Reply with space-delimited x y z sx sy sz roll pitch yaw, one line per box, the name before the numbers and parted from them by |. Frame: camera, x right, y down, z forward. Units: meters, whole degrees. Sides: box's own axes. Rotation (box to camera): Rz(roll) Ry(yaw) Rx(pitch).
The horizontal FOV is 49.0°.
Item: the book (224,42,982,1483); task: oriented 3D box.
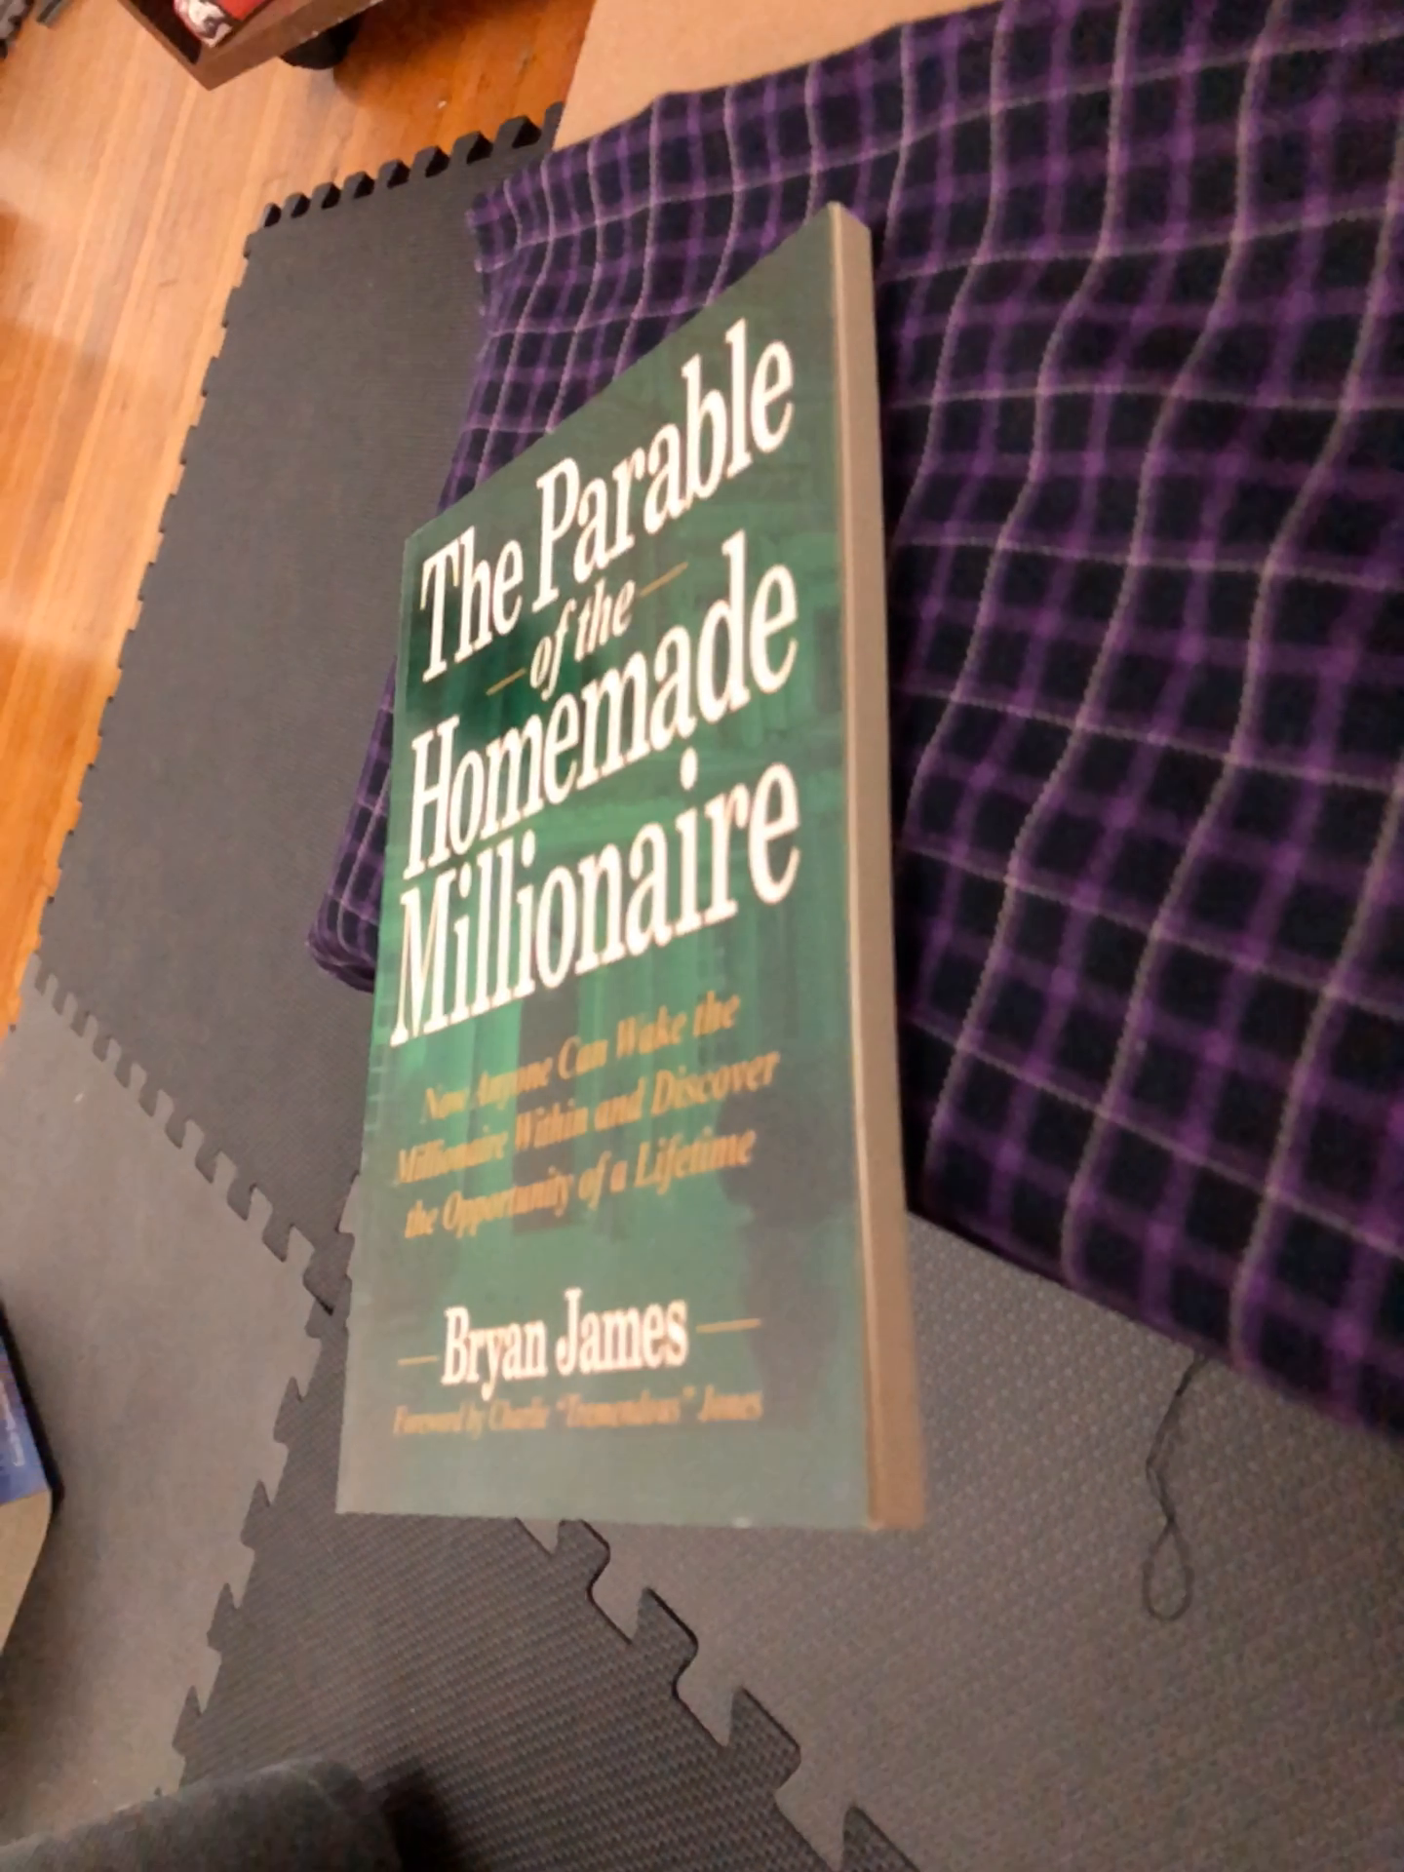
book | -0.028 -0.017 0.267 0.161 0.020 0.210 -21 61 45
